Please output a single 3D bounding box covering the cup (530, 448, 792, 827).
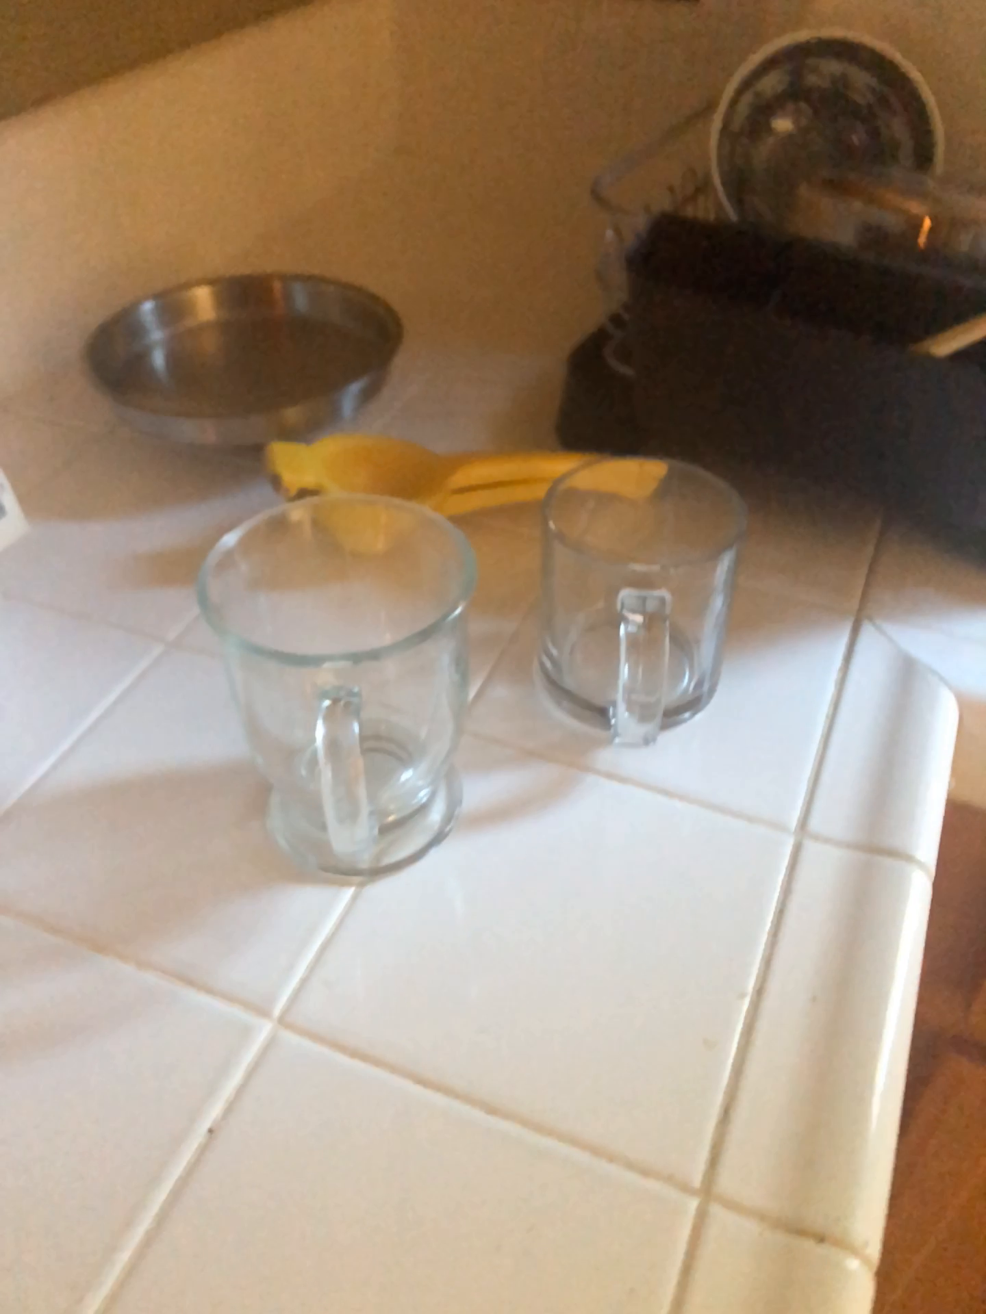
[{"bbox_3d":[0.062,-0.010,0.472,0.090,0.109,0.121,1,42,1],"label":"cup"}]

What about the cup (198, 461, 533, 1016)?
[{"bbox_3d":[-0.047,0.028,0.404,0.090,0.139,0.131,-9,42,-10],"label":"cup"}]
